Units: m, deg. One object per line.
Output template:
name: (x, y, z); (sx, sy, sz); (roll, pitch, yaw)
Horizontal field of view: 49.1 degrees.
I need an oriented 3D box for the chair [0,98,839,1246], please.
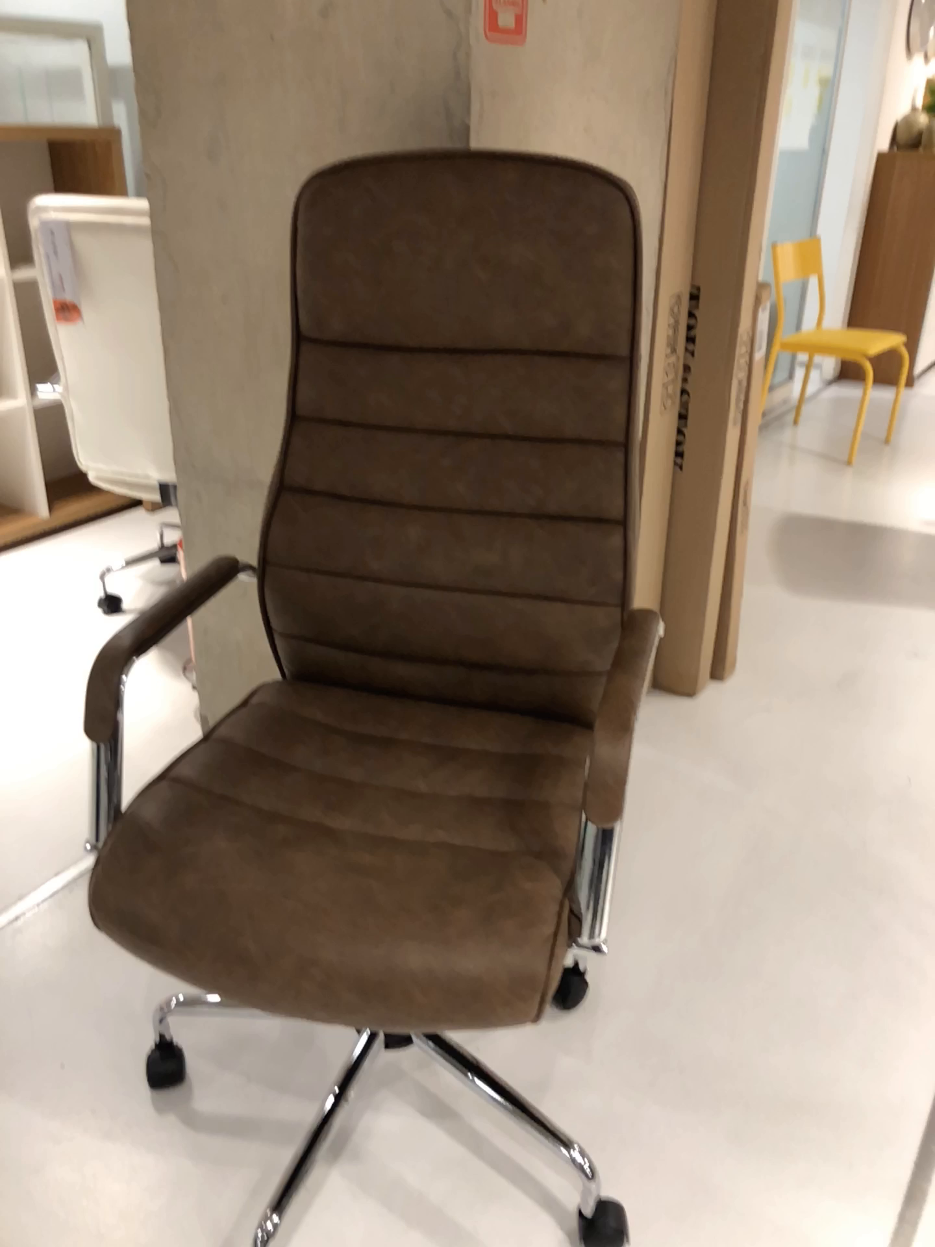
chair: (-0.054, 0.039, 1.005); (0.640, 0.963, 0.634); (9, 26, 16)
